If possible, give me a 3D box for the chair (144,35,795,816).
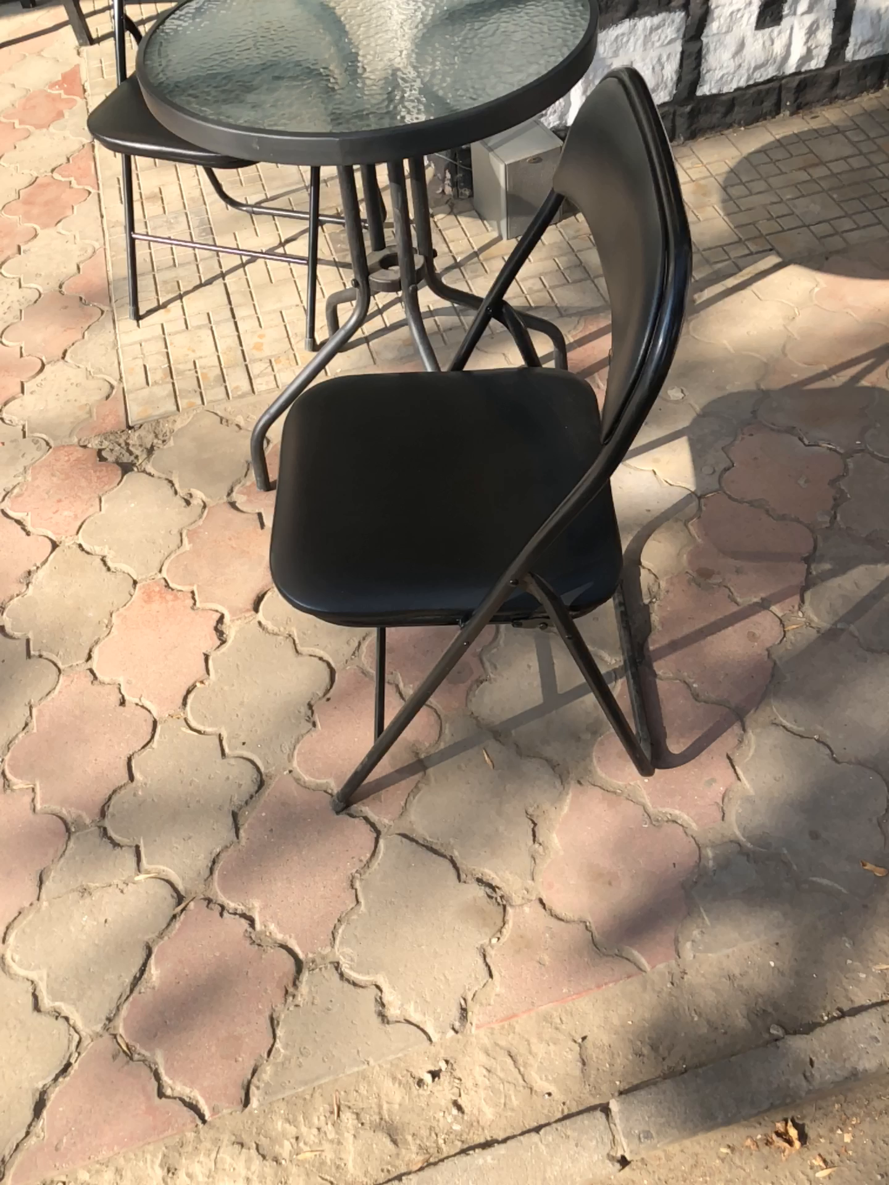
[{"bbox_3d":[0.031,-0.148,1.130,0.470,0.698,0.502,-5,50,2],"label":"chair"}]
